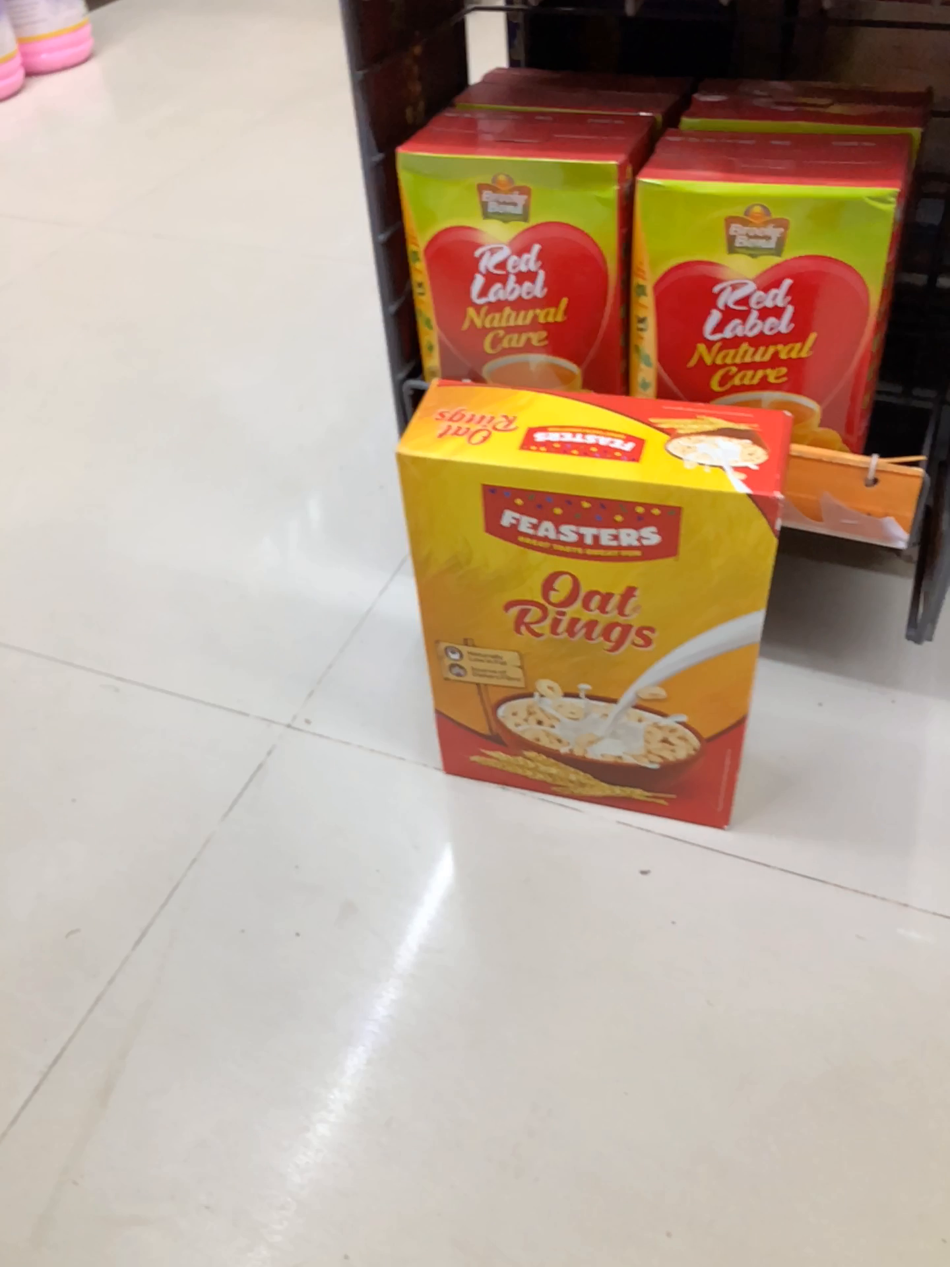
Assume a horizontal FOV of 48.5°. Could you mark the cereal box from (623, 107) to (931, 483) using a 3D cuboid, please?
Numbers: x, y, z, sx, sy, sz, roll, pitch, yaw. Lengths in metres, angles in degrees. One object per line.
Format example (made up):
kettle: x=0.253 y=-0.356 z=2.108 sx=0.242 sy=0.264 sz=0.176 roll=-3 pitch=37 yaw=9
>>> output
cereal box: x=0.142 y=-0.165 z=0.520 sx=0.120 sy=0.149 sz=0.081 roll=8 pitch=45 yaw=13

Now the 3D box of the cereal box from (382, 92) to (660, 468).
cereal box: x=0.029 y=-0.194 z=0.585 sx=0.120 sy=0.169 sz=0.081 roll=12 pitch=46 yaw=17

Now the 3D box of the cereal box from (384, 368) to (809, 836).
cereal box: x=0.059 y=-0.009 z=0.526 sx=0.170 sy=0.219 sz=0.070 roll=9 pitch=45 yaw=14
